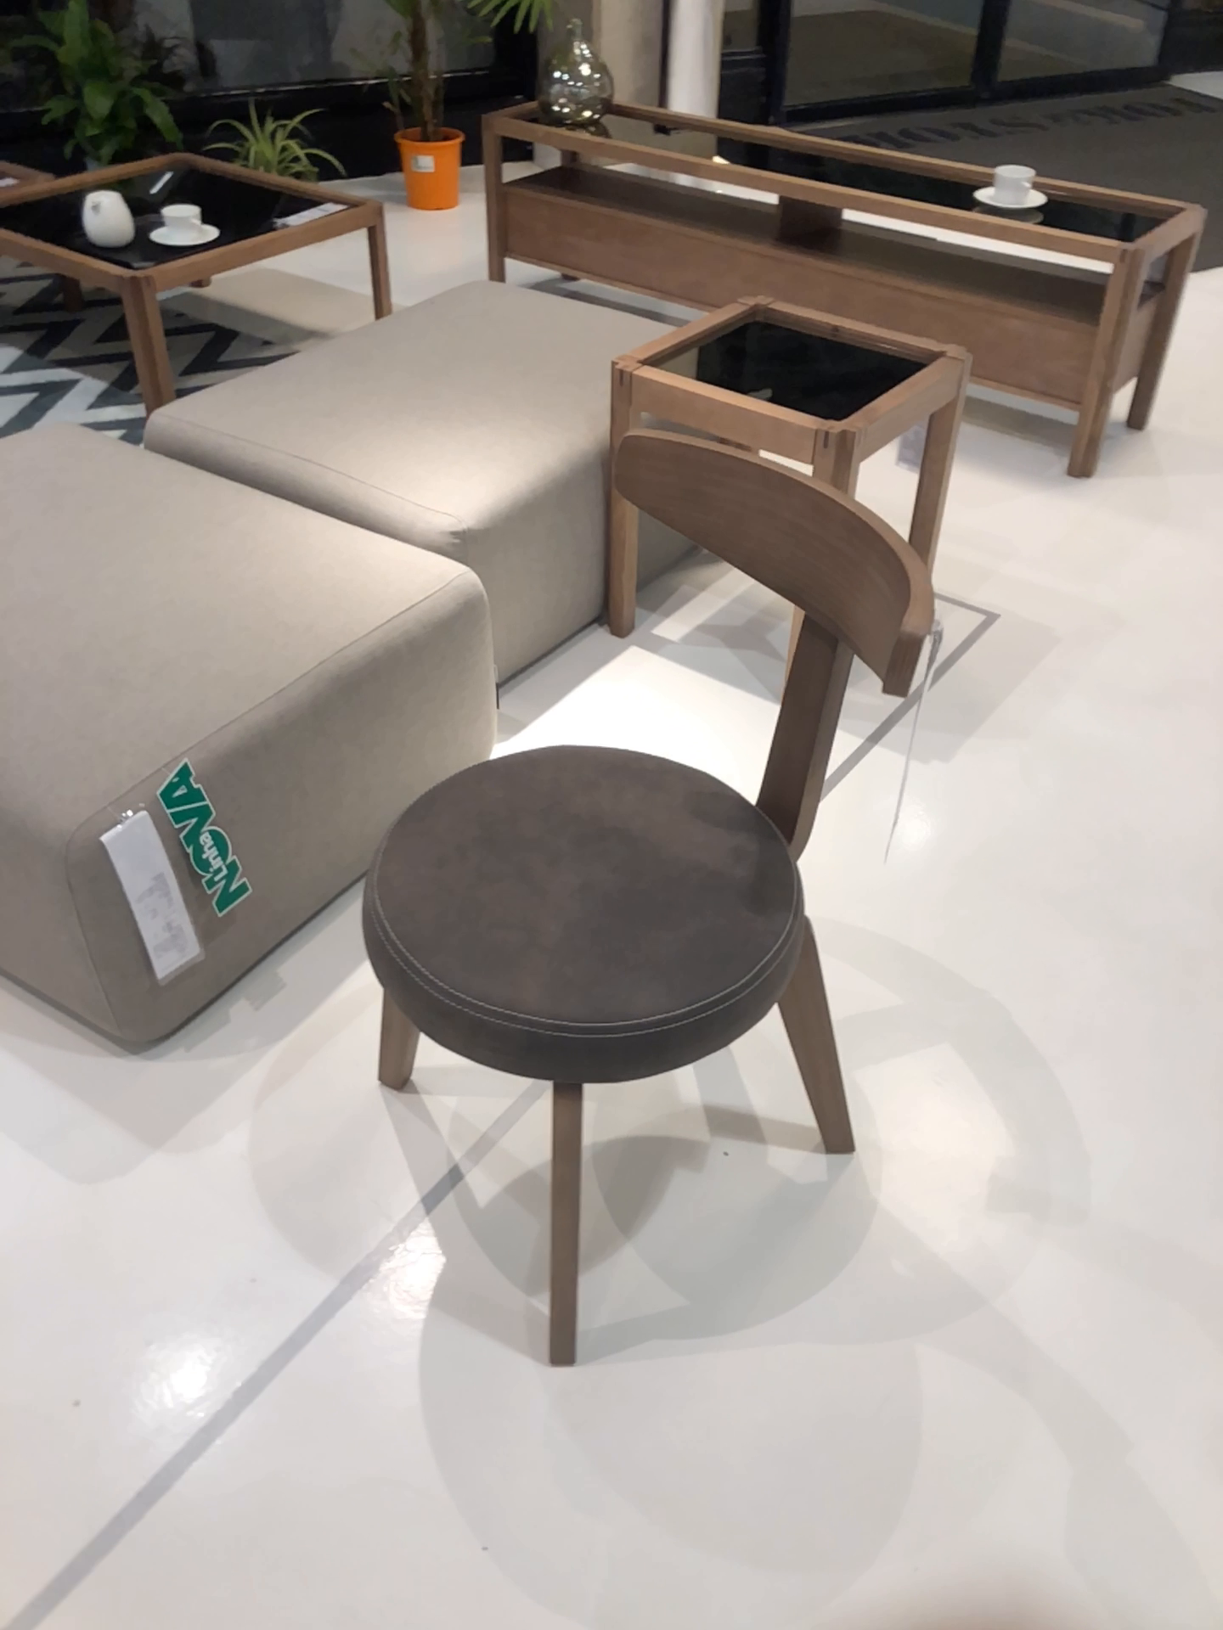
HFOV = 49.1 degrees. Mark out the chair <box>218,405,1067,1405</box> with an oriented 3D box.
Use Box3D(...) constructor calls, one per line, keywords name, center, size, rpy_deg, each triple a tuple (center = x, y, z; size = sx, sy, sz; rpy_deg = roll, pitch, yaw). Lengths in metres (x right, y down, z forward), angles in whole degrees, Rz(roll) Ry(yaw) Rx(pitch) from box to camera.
Box3D(name="chair", center=(0.002, 0.069, 1.334), size=(0.521, 0.704, 0.503), rpy_deg=(-20, 43, -24))
